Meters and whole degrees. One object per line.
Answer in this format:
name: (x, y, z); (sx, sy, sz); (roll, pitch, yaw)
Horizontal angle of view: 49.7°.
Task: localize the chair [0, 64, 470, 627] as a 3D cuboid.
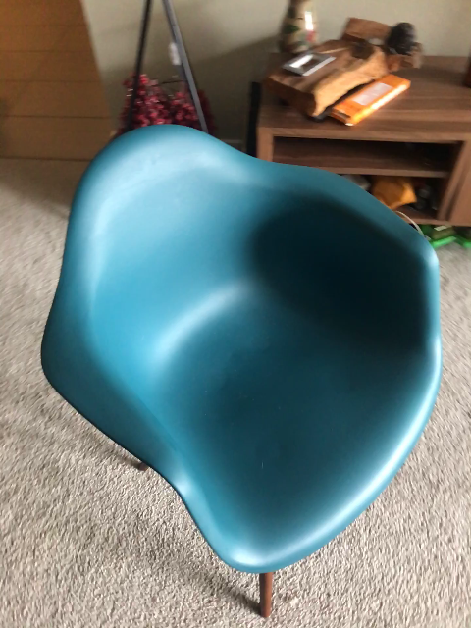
chair: (0.003, 0.122, 0.940); (0.582, 0.785, 0.561); (-36, 56, -23)
